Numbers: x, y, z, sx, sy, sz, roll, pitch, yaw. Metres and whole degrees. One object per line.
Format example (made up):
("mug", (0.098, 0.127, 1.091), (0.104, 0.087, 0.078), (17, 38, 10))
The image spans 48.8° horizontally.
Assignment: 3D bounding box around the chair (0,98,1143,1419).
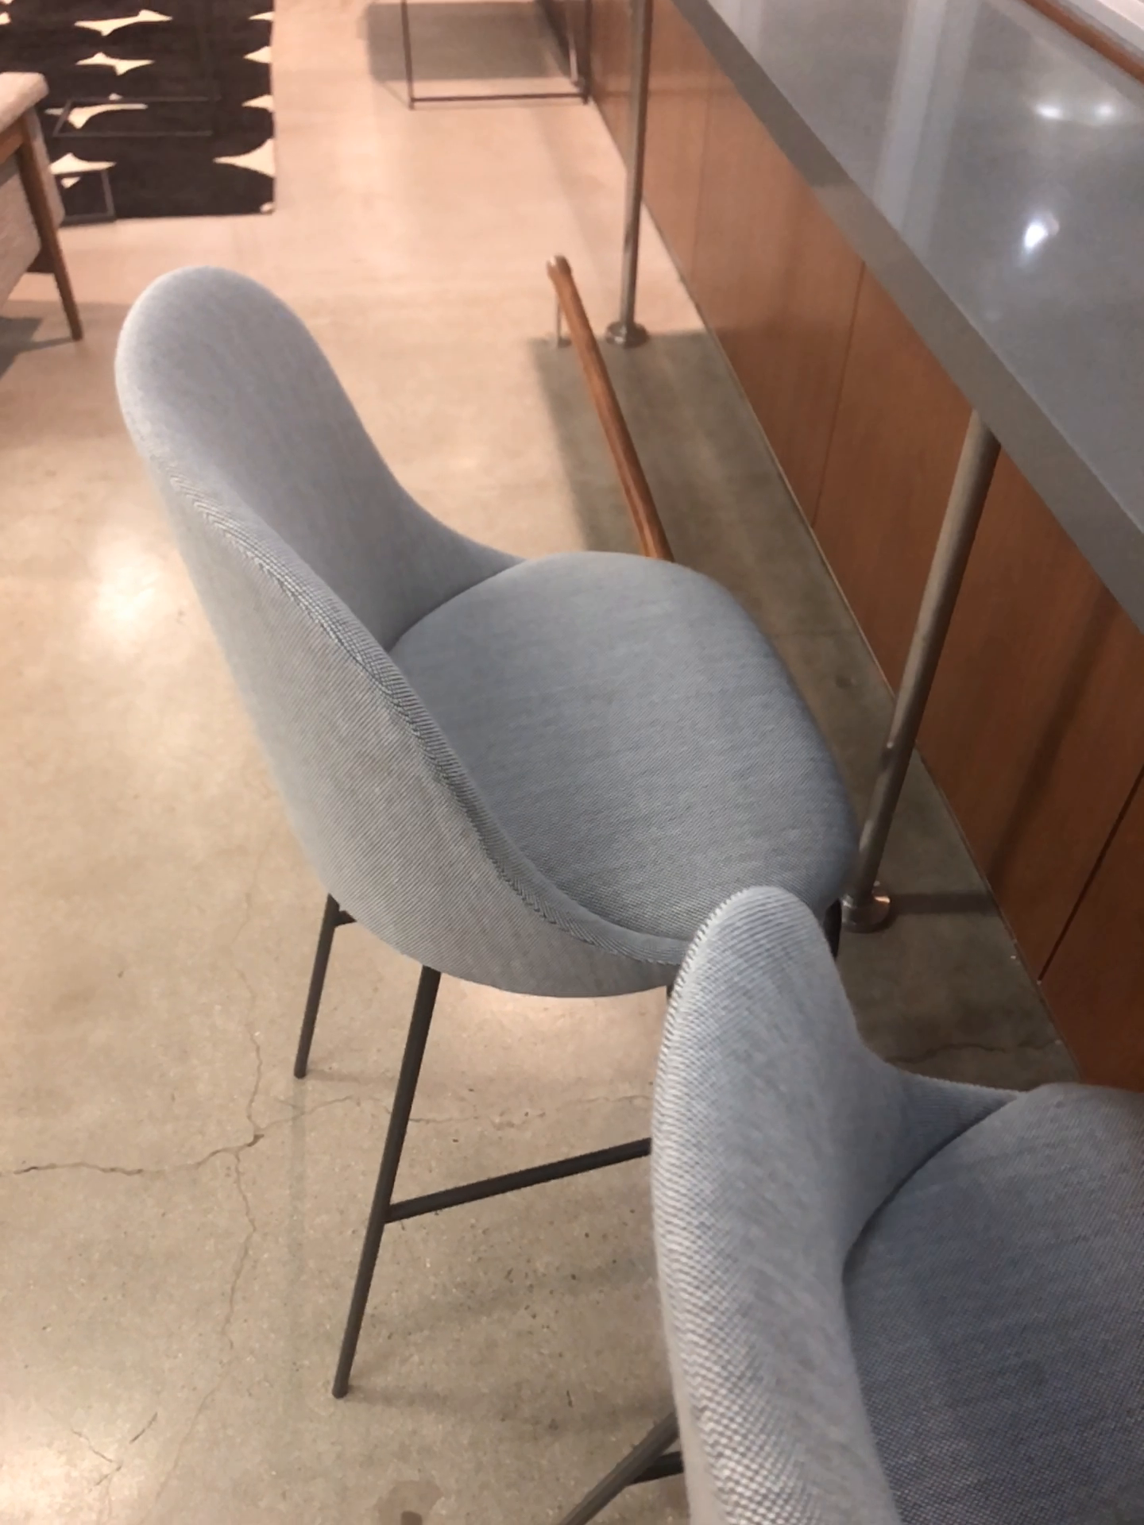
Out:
("chair", (-0.023, 0.077, 1.165), (0.631, 1.091, 0.514), (-9, 46, -10))
